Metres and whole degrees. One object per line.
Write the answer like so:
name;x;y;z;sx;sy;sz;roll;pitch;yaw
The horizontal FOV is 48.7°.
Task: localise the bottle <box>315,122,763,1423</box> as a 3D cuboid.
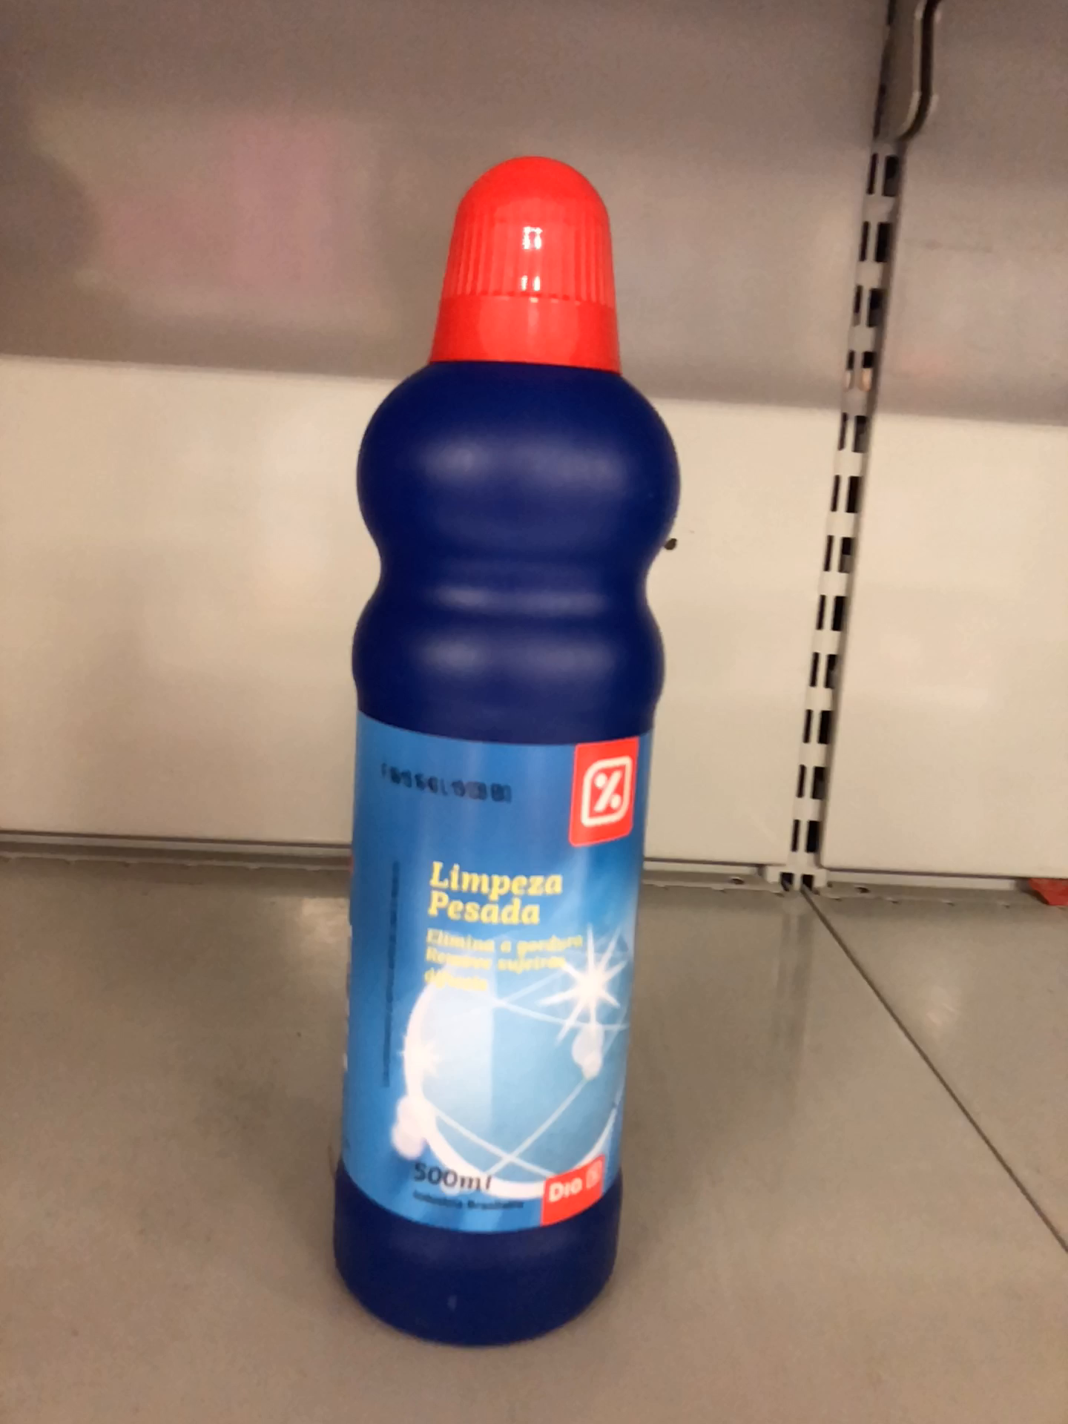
bottle;-0.008;0.020;0.243;0.070;0.239;0.070;2;12;-1
